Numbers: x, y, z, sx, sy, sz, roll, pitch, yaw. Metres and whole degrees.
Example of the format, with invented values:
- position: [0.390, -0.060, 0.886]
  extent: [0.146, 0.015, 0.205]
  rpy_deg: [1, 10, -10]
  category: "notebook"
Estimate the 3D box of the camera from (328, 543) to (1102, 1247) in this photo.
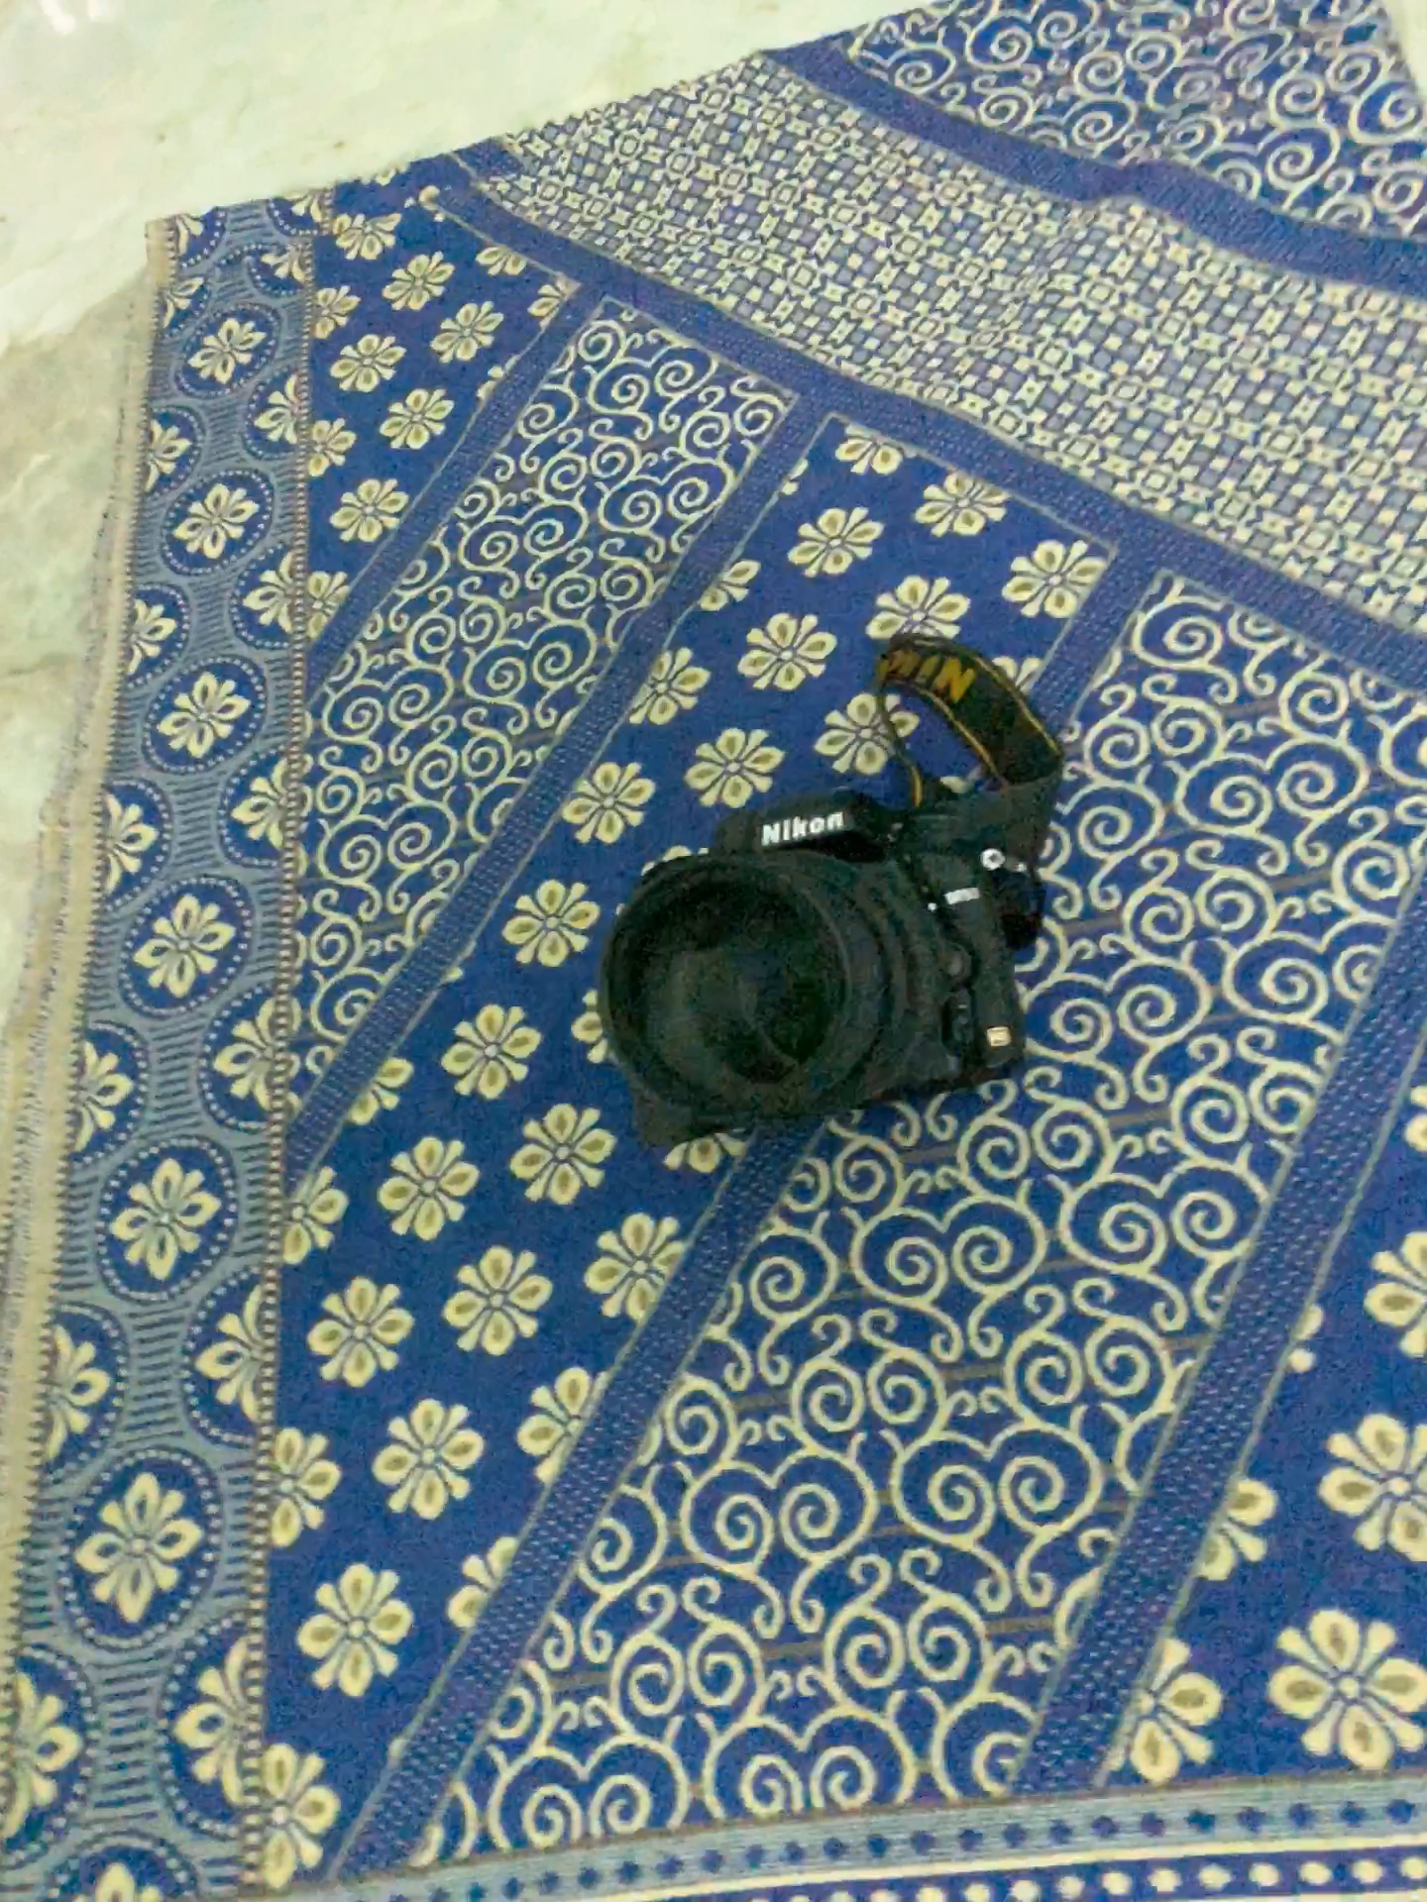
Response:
- position: [0.016, 0.005, 0.413]
  extent: [0.160, 0.191, 0.130]
  rpy_deg: [-11, 78, 13]
  category: "camera"
